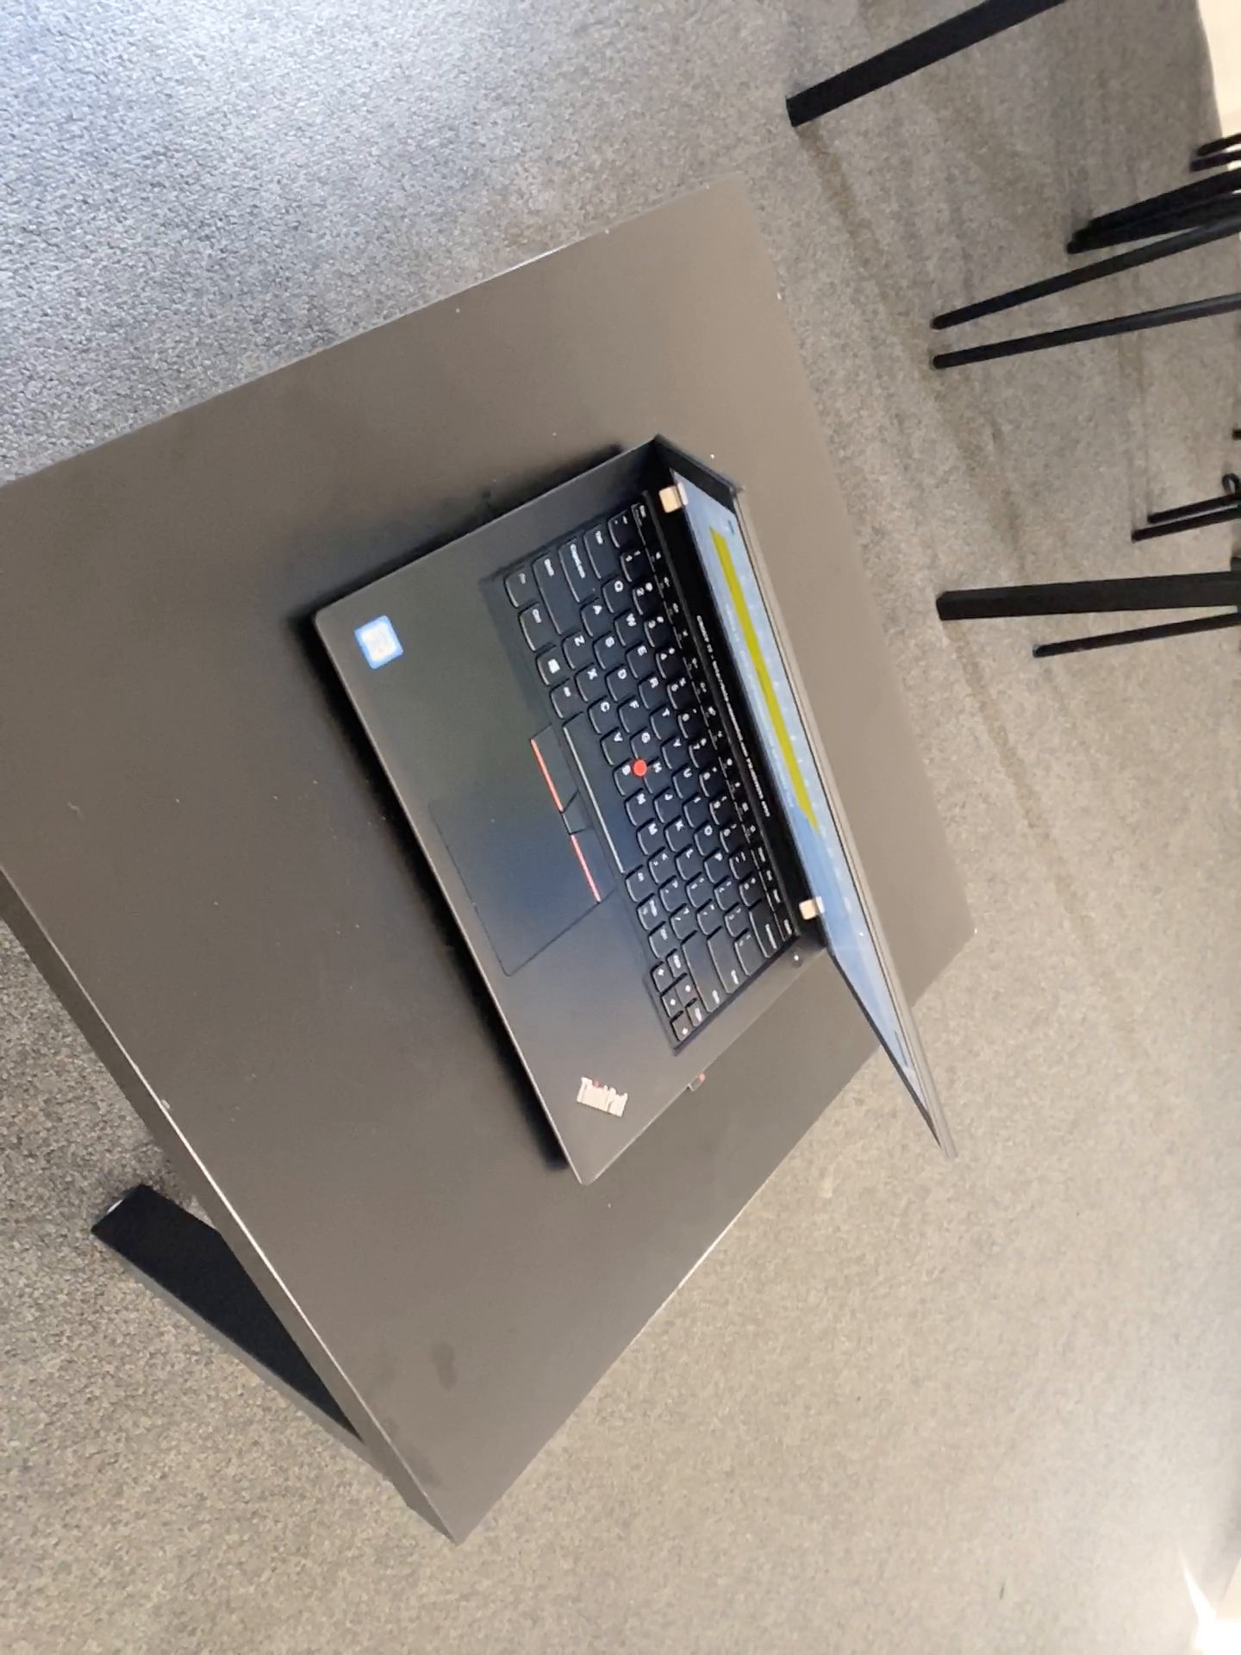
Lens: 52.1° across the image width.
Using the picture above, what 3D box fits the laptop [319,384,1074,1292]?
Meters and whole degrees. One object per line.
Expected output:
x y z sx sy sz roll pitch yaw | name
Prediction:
0.056 0.001 0.616 0.224 0.165 0.332 -38 118 -33 | laptop
